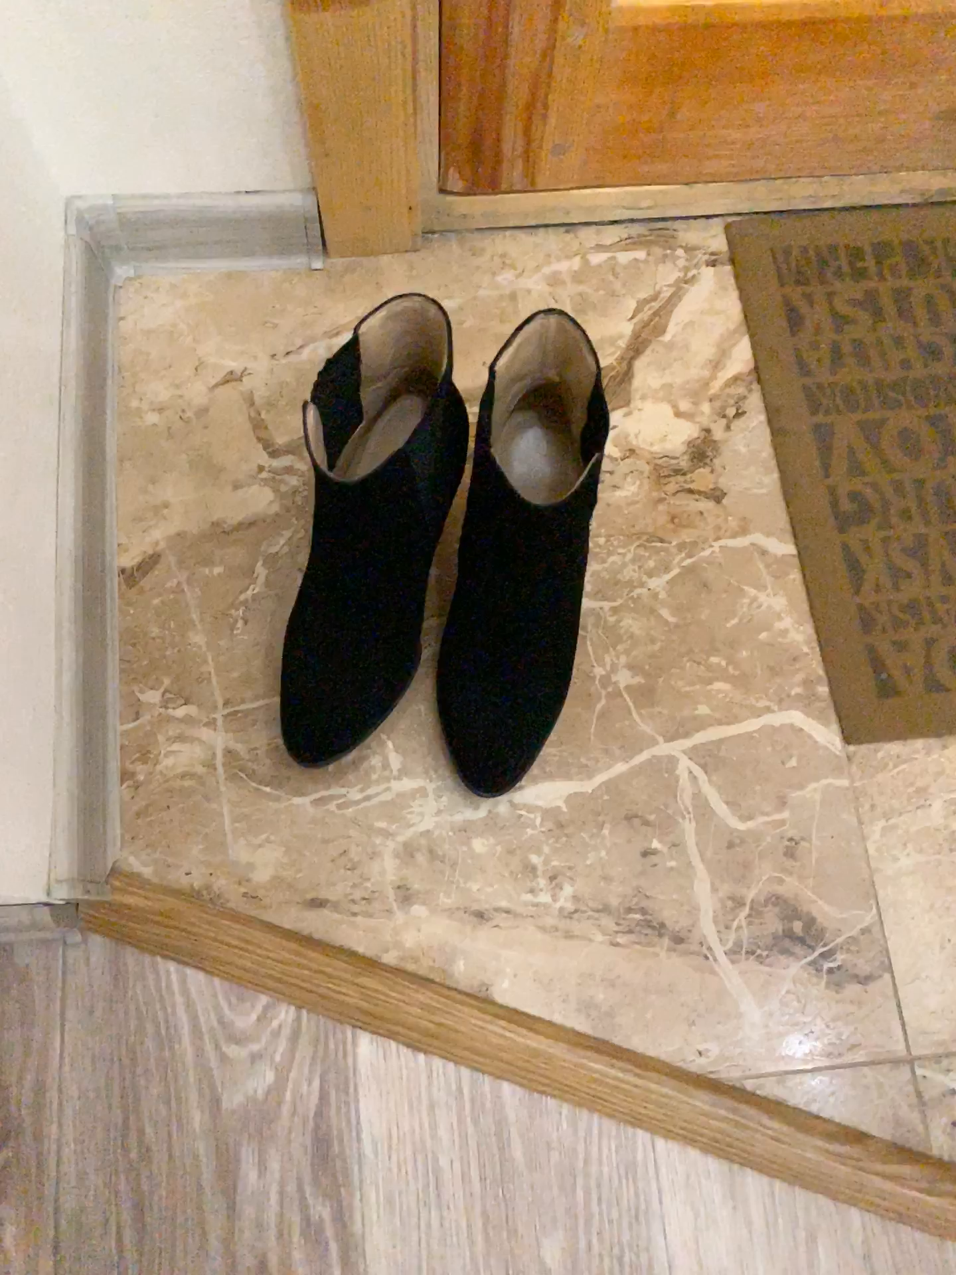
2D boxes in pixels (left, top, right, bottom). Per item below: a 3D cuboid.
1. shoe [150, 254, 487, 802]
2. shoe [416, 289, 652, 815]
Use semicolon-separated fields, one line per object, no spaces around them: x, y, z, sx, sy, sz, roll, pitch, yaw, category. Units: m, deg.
-0.069;-0.042;0.524;0.086;0.199;0.214;15;72;2;shoe
0.025;-0.030;0.530;0.086;0.199;0.215;7;72;0;shoe
